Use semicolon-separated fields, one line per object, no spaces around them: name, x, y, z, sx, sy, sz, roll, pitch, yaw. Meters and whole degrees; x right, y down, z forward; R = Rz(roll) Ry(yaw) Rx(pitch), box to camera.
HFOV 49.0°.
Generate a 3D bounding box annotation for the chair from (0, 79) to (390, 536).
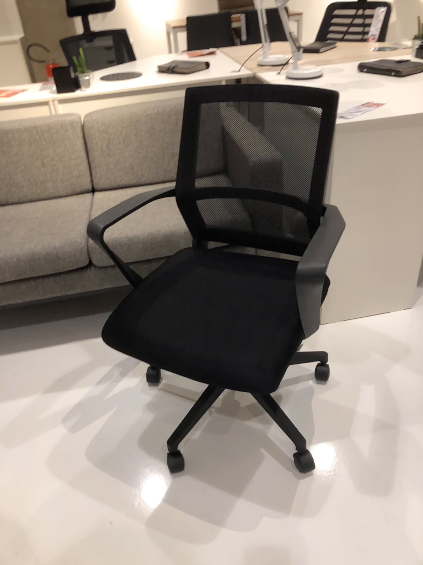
chair;0.018;0.010;1.277;0.681;0.933;0.634;12;37;25
